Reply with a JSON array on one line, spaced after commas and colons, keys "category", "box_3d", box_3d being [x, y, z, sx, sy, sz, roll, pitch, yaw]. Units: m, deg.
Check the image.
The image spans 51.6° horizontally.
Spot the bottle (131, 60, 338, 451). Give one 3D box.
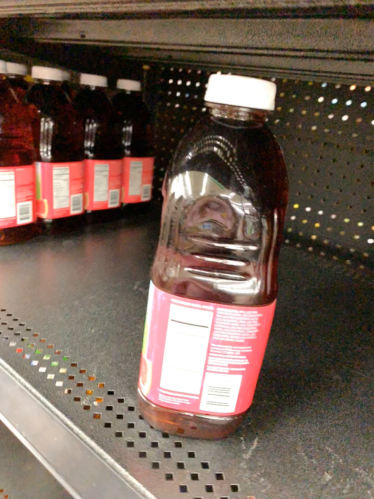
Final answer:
[{"category": "bottle", "box_3d": [0.017, 0.005, 0.298, 0.090, 0.255, 0.126, 6, 22, -3]}]
